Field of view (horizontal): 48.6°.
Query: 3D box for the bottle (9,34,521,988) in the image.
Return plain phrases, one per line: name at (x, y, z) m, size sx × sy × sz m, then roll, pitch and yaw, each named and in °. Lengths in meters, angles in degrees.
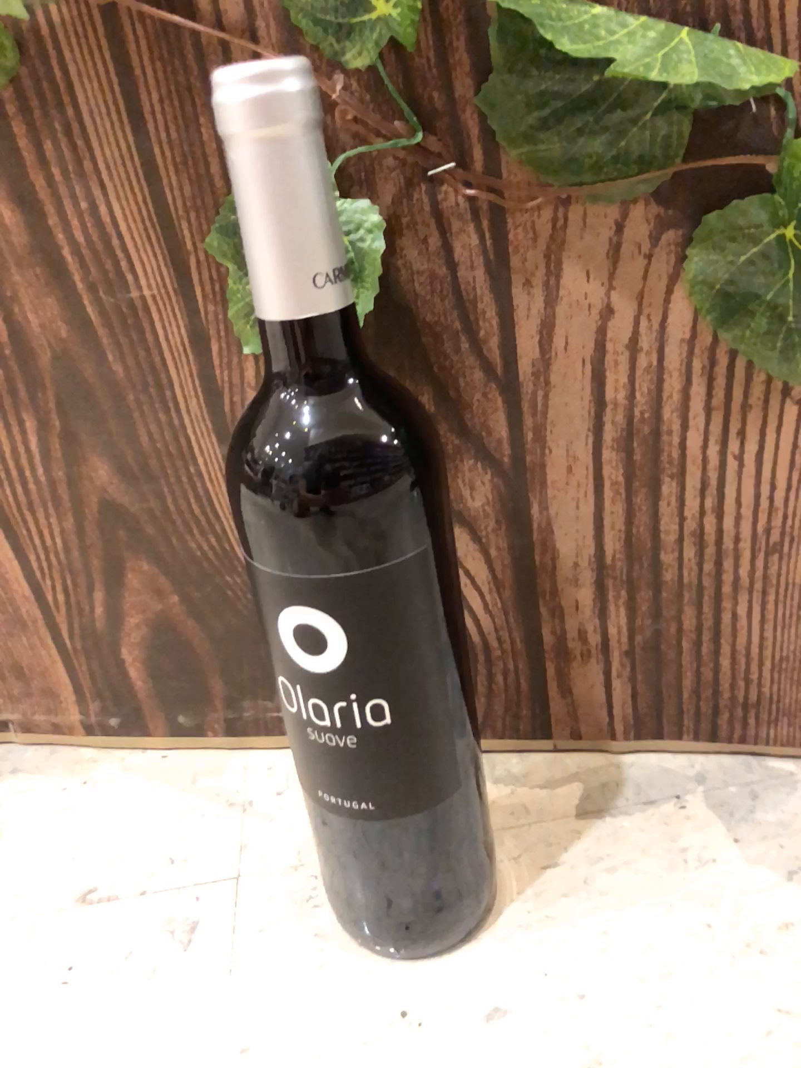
bottle at (-0.021, 0.010, 0.296) m, size 0.080 × 0.298 × 0.081 m, roll -7°, pitch 27°, yaw 4°
